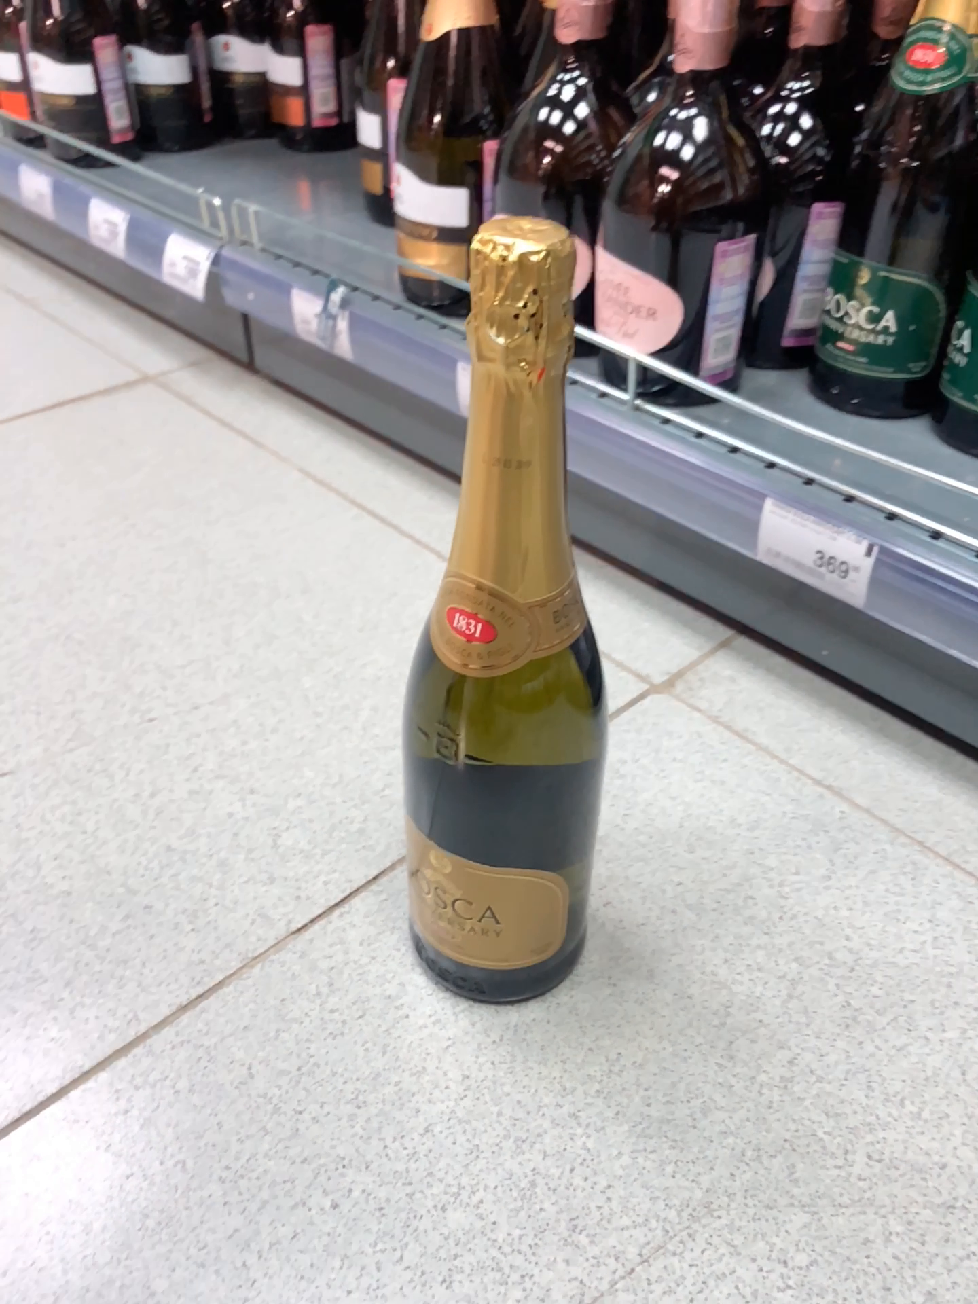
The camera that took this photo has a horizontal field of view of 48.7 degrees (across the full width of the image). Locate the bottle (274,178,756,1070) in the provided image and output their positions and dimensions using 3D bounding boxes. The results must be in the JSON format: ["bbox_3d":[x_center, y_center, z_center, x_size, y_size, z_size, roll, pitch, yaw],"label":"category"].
[{"bbox_3d":[0.006,0.005,0.410,0.100,0.314,0.100,1,37,-1],"label":"bottle"}]
